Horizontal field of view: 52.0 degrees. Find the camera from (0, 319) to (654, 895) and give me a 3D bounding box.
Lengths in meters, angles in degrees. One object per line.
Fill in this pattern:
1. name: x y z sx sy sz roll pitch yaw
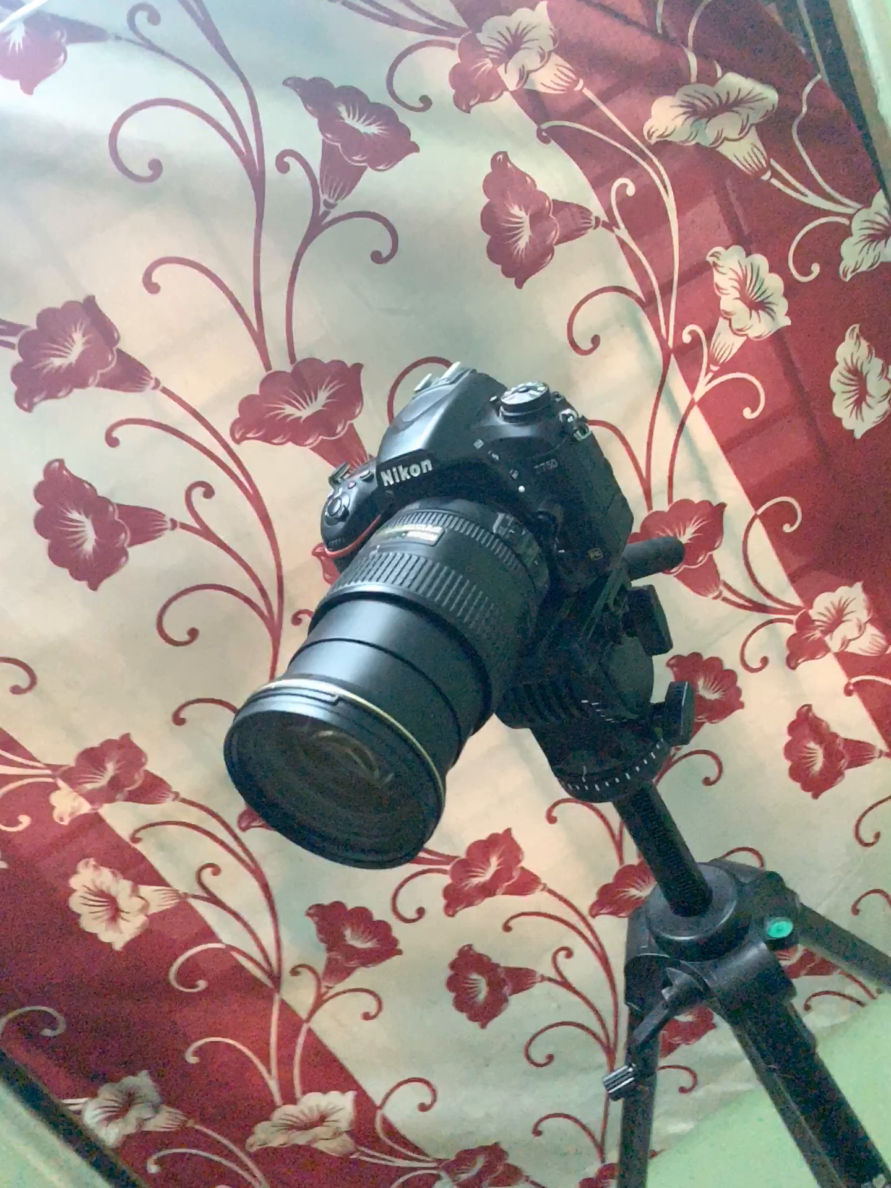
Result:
1. camera: -0.034 0.006 0.369 0.172 0.122 0.170 -17 25 32
